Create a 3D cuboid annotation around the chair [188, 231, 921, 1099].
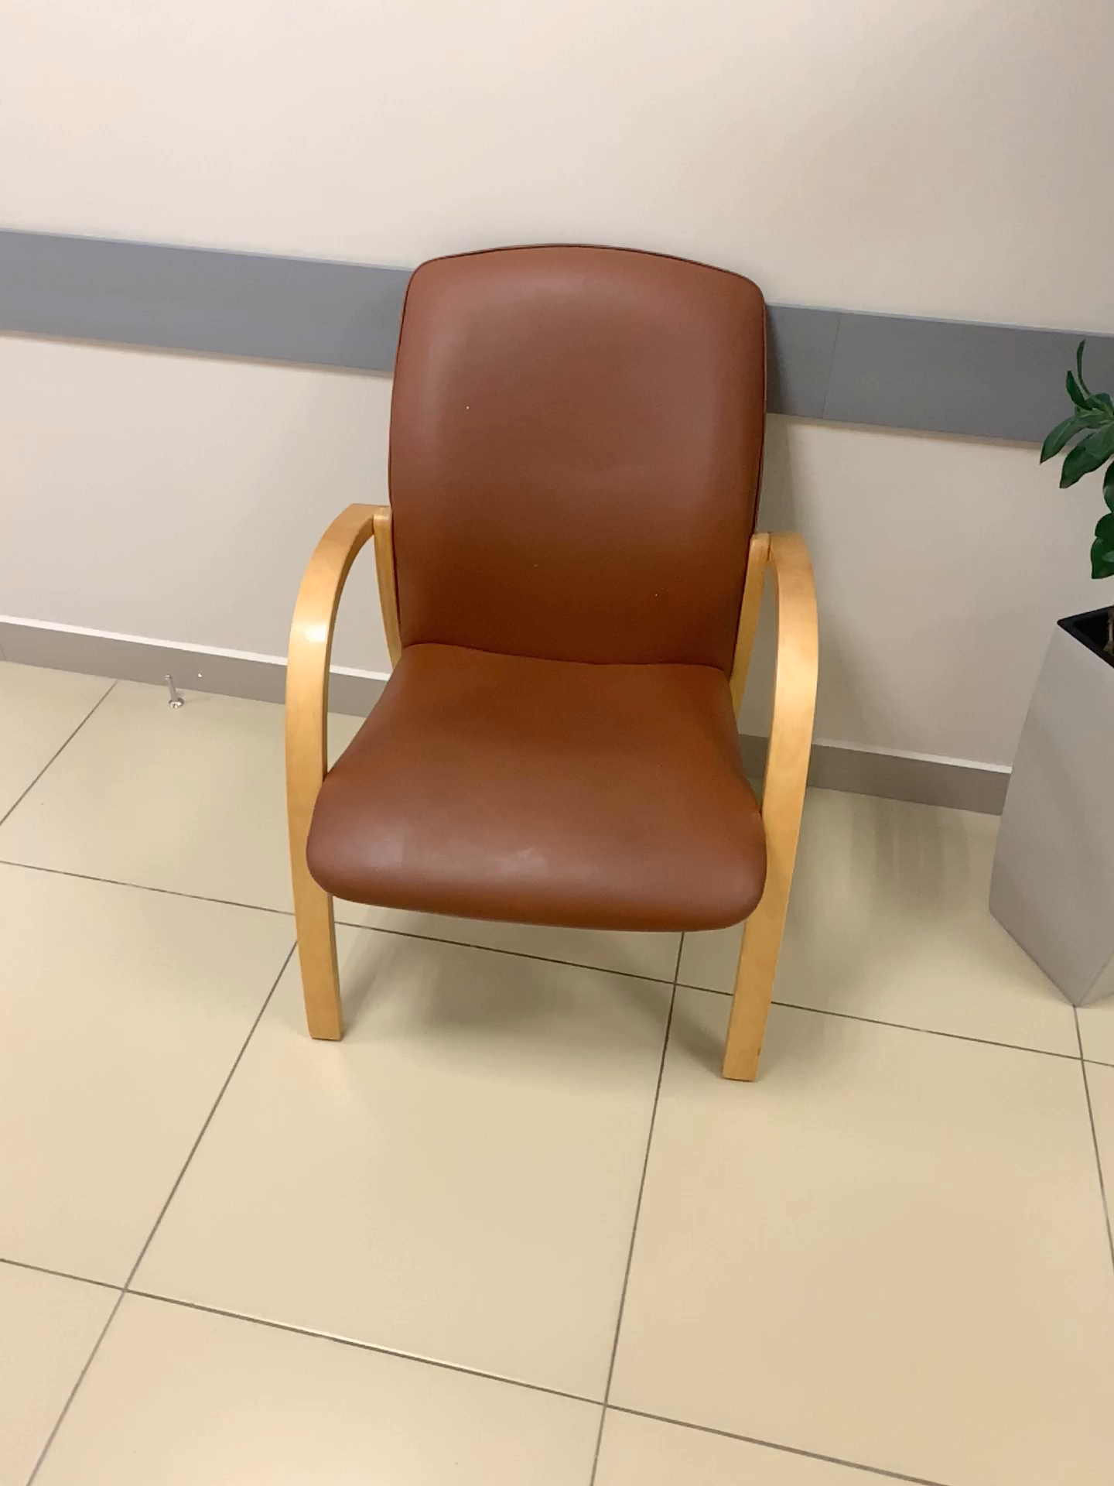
[{"bbox_3d":[0.016,-0.081,1.582,0.670,0.984,0.603,5,41,4],"label":"chair"}]
